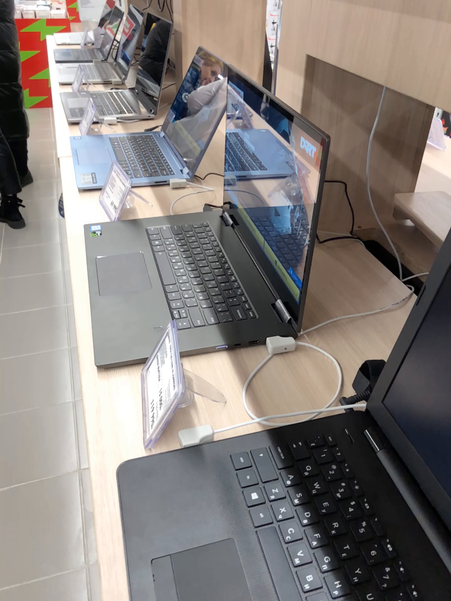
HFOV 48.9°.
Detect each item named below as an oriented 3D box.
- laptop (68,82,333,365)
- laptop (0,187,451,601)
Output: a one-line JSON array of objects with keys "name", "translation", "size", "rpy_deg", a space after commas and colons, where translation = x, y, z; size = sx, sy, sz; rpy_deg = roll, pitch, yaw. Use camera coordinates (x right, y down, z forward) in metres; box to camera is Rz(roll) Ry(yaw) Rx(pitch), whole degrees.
[{"name": "laptop", "translation": [-0.064, -0.135, 0.676], "size": [0.251, 0.240, 0.360], "rpy_deg": [-6, 33, -11]}, {"name": "laptop", "translation": [0.084, 0.098, 0.278], "size": [0.308, 0.238, 0.307], "rpy_deg": [-1, 29, -9]}]
